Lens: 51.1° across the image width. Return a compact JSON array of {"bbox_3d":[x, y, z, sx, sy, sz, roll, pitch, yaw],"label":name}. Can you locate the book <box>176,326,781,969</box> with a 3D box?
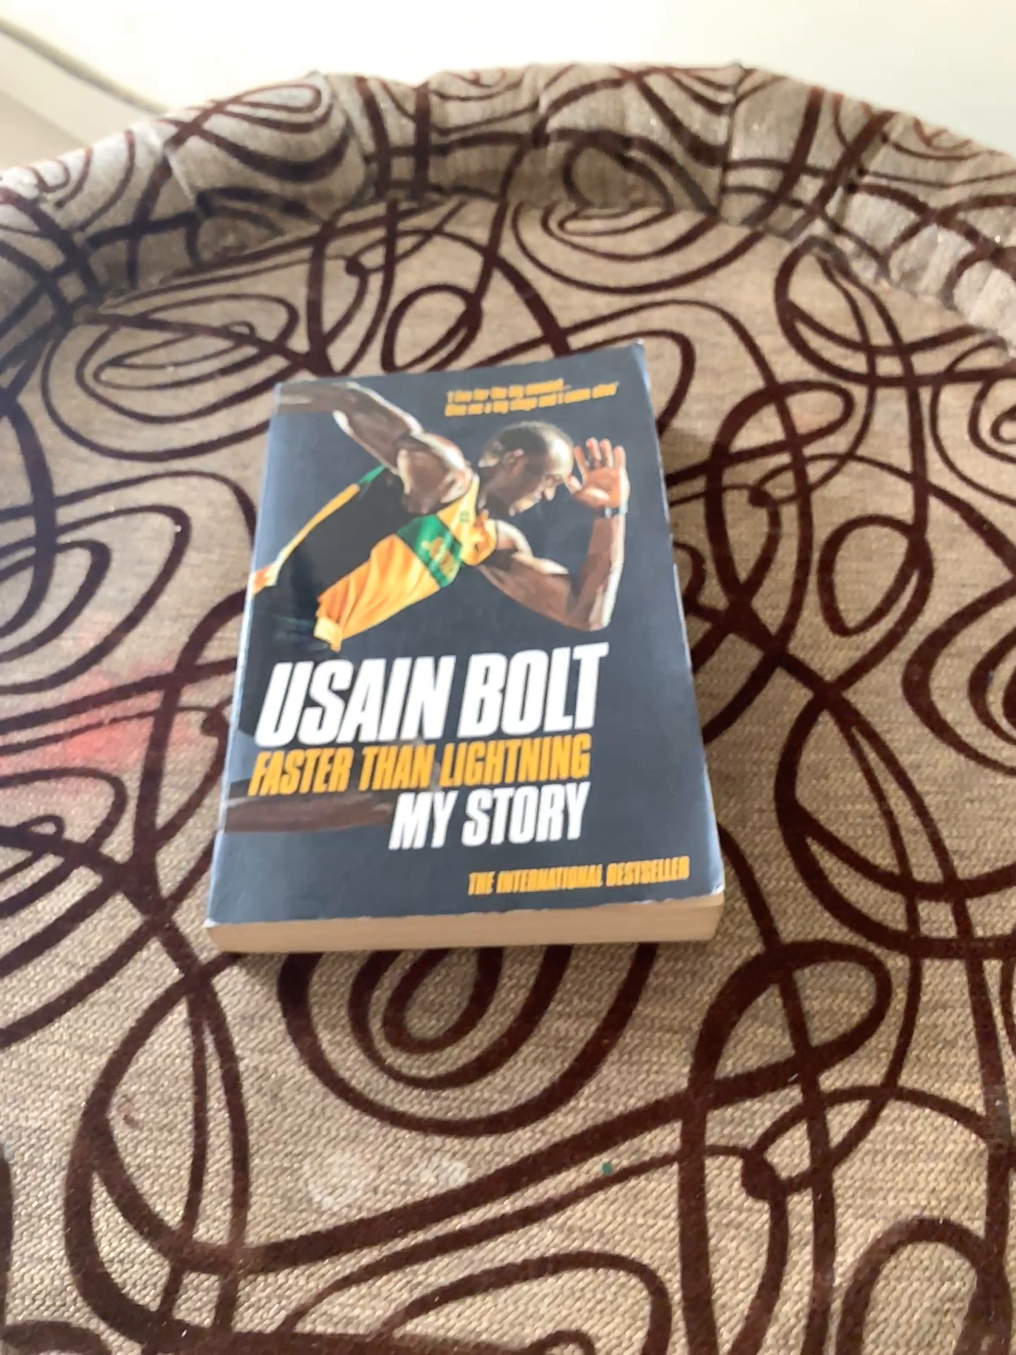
[{"bbox_3d":[-0.009,-0.021,0.313,0.140,0.030,0.201,-3,56,2],"label":"book"}]
